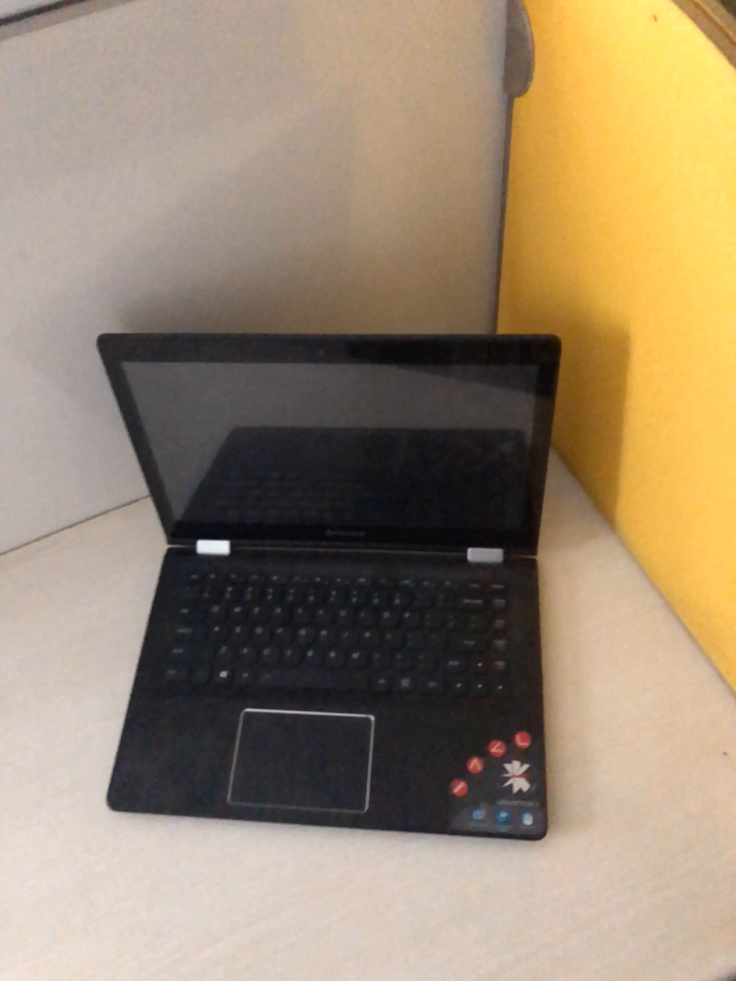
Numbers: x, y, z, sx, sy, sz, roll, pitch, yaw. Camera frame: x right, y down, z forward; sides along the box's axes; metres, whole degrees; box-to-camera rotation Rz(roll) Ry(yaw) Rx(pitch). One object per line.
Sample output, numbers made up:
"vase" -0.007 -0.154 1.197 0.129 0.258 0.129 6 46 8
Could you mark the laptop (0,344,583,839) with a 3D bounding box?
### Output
"laptop" -0.032 0.072 0.578 0.311 0.226 0.264 1 57 7
